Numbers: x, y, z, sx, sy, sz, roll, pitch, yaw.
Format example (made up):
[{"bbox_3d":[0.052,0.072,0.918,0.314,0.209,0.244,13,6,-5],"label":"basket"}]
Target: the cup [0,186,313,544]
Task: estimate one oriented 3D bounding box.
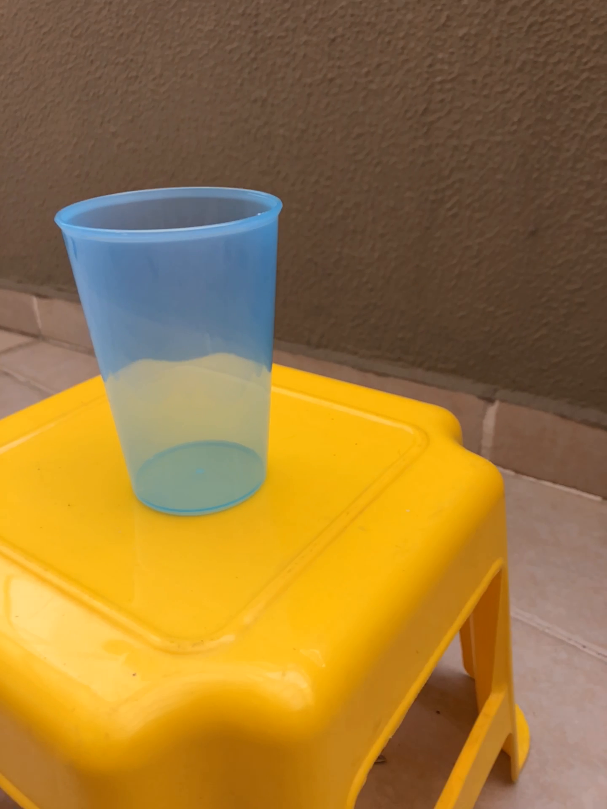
[{"bbox_3d":[-0.048,-0.021,0.250,0.070,0.099,0.080,12,29,27],"label":"cup"}]
